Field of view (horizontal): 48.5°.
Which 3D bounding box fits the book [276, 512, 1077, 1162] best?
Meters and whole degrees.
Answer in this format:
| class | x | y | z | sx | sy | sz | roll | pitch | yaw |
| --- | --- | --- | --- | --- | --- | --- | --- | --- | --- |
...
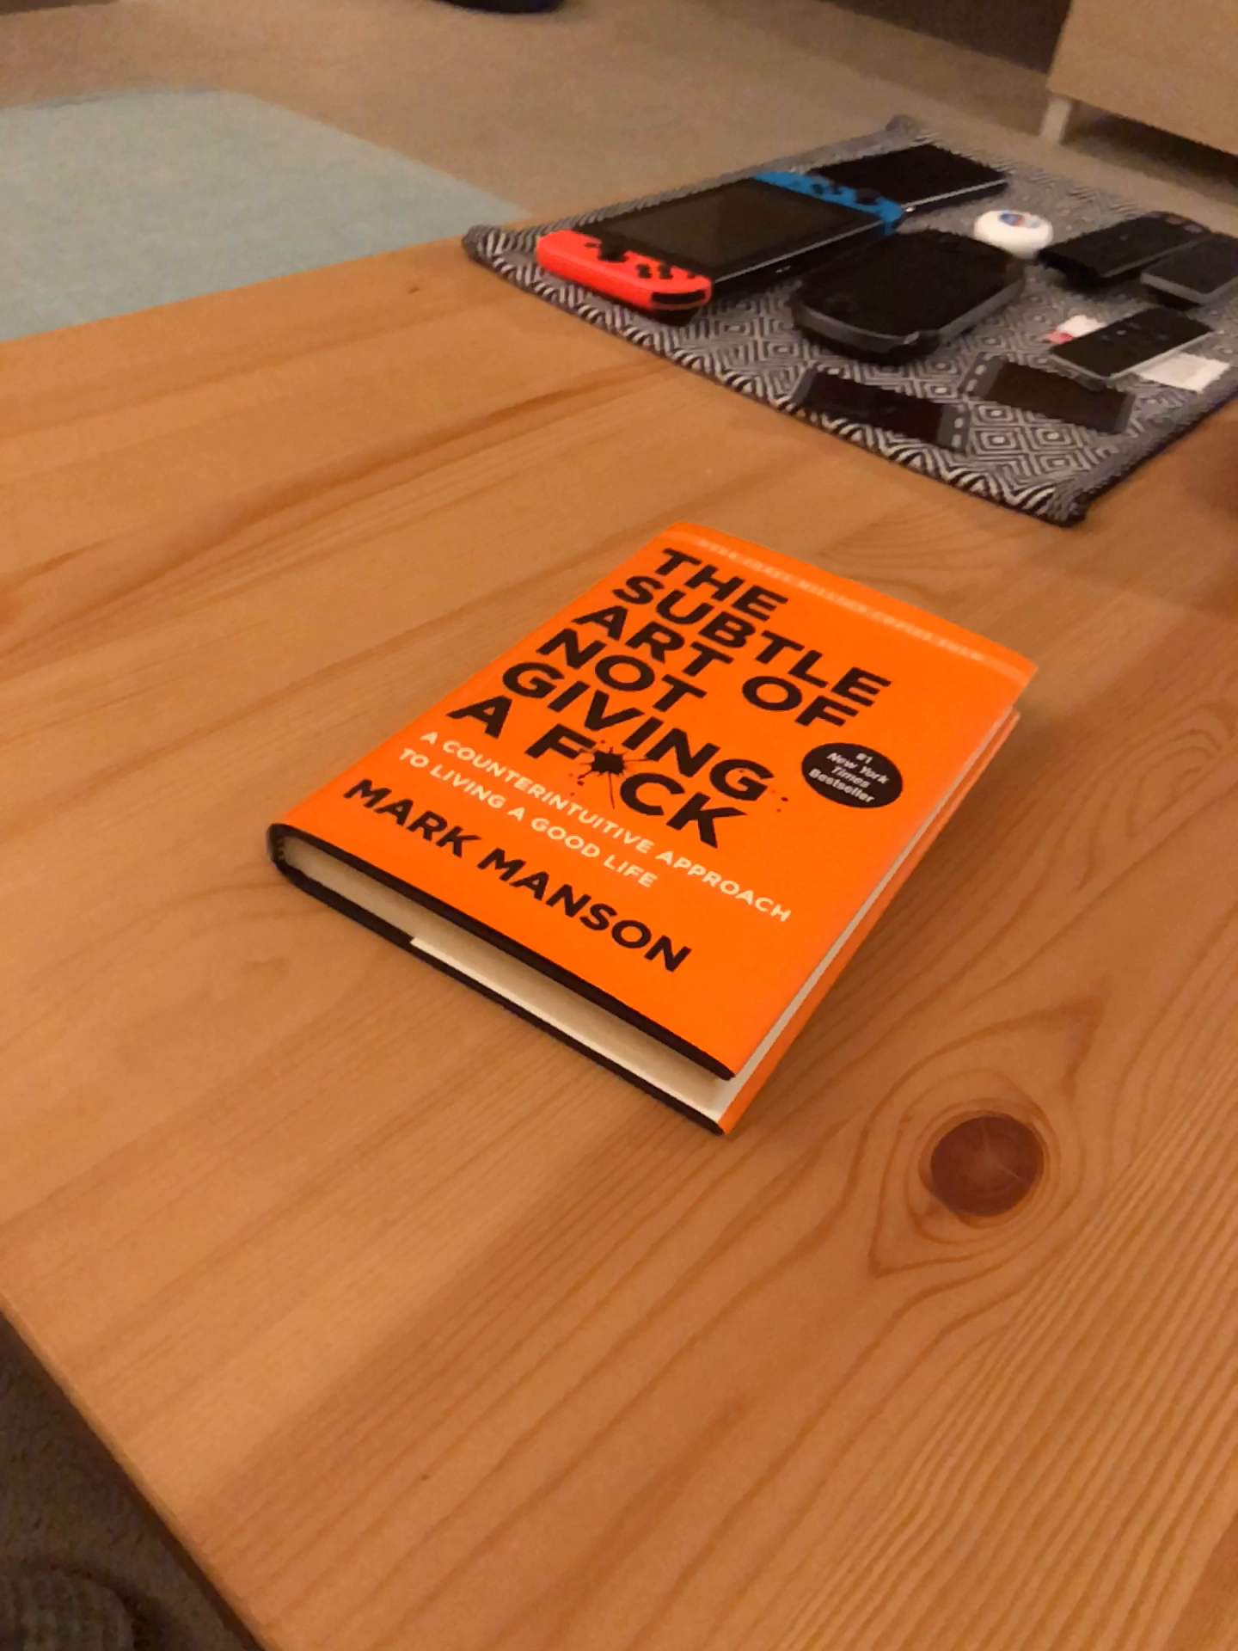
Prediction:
| class | x | y | z | sx | sy | sz | roll | pitch | yaw |
| --- | --- | --- | --- | --- | --- | --- | --- | --- | --- |
| book | 0.029 | -0.018 | 0.442 | 0.160 | 0.030 | 0.221 | 27 | 47 | 22 |
